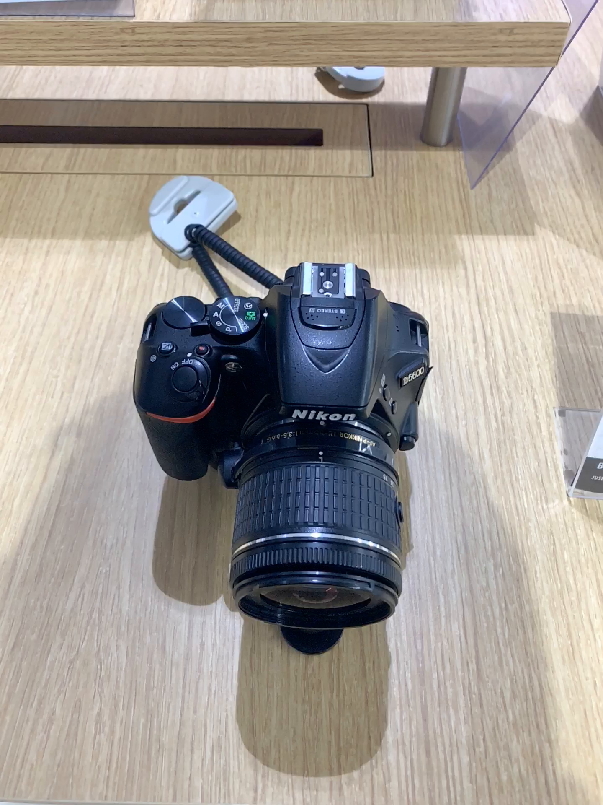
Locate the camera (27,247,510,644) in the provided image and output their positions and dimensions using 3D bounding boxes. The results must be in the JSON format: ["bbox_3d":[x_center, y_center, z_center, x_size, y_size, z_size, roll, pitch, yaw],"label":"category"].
[{"bbox_3d":[-0.008,0.016,0.224,0.124,0.080,0.114,2,55,0],"label":"camera"}]
